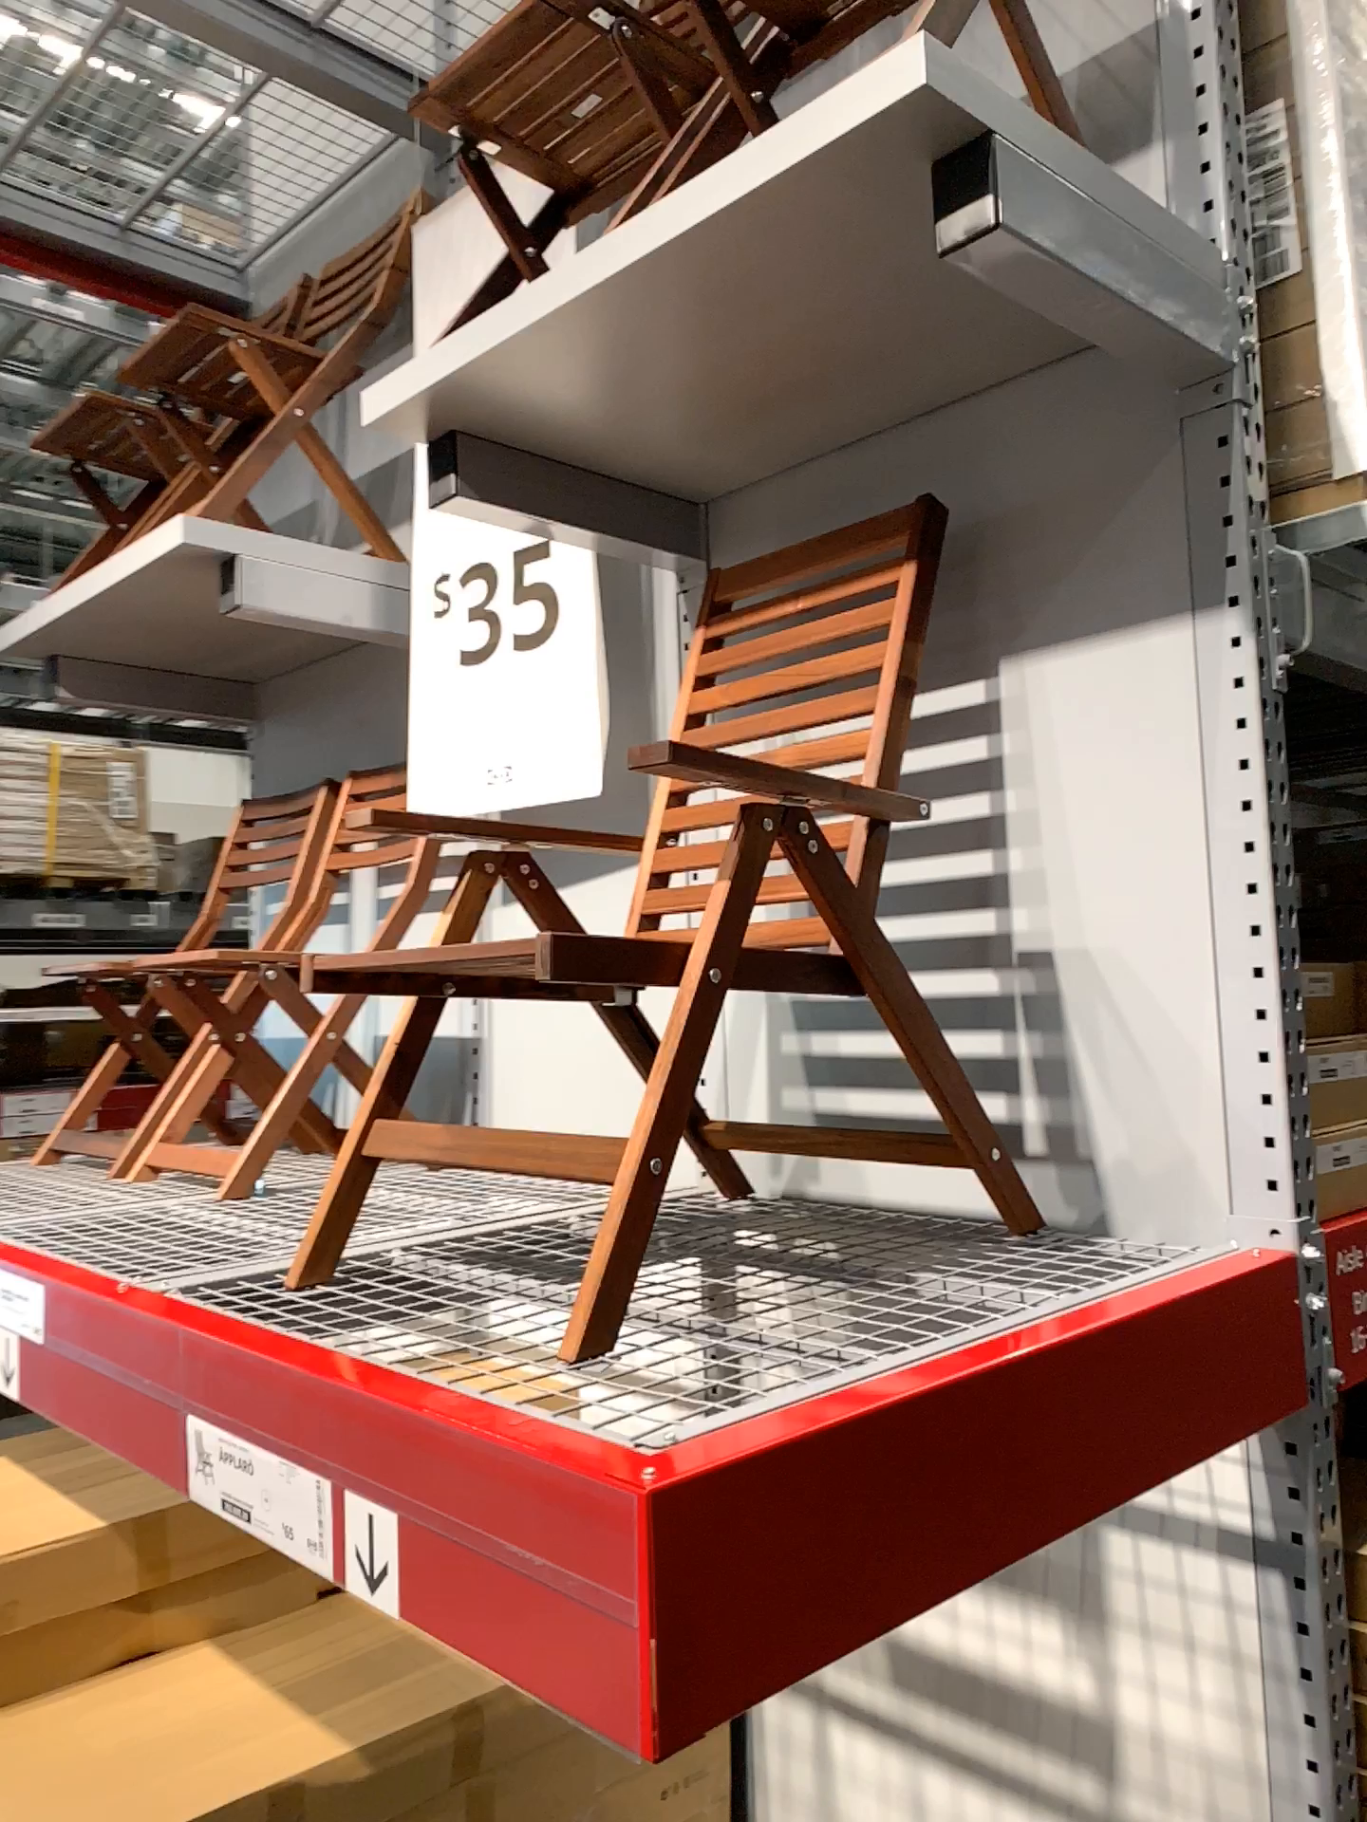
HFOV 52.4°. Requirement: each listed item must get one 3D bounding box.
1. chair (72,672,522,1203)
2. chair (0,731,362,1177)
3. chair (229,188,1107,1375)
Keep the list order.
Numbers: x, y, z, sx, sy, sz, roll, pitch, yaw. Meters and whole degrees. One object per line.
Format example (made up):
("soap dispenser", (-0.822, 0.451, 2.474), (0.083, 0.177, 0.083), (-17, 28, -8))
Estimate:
("chair", (-0.770, 0.066, 2.752), (0.630, 0.885, 0.616), (2, -6, -44))
("chair", (-1.183, 0.107, 3.197), (0.630, 0.885, 0.616), (2, -6, -42))
("chair", (-0.005, -0.101, 1.751), (0.890, 1.055, 0.616), (2, -6, -44))
